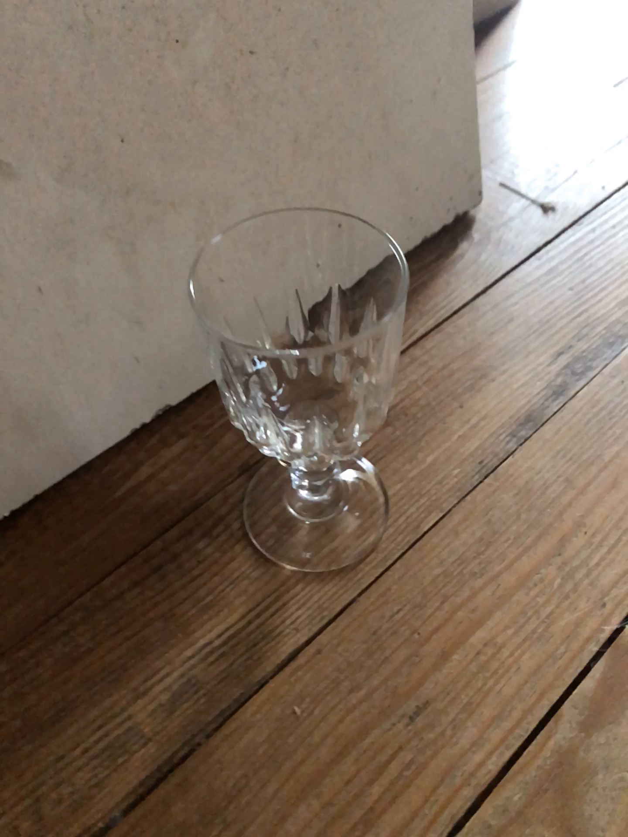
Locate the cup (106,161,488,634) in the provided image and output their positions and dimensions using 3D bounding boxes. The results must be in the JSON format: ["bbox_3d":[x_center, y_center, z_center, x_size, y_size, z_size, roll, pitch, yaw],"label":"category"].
[{"bbox_3d":[-0.003,-0.002,0.227,0.070,0.119,0.070,-1,50,1],"label":"cup"}]
